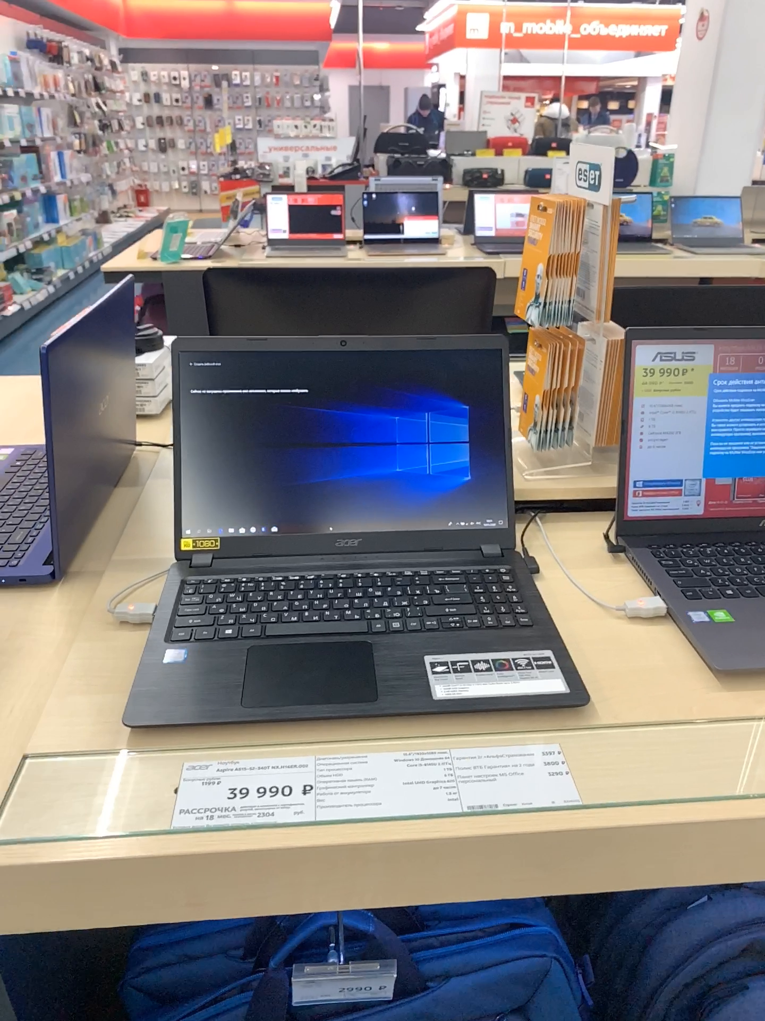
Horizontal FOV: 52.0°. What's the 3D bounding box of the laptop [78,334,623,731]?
[{"bbox_3d":[-0.030,-0.015,0.755,0.376,0.216,0.377,-2,26,-6],"label":"laptop"}]
